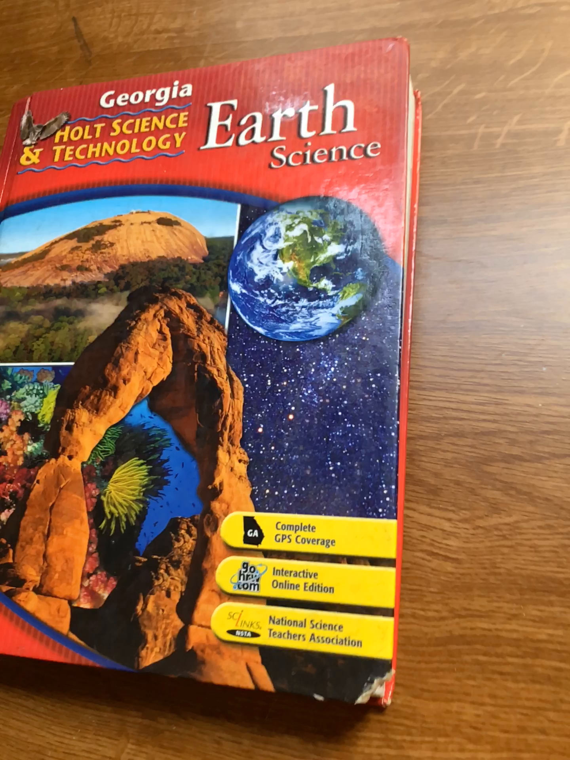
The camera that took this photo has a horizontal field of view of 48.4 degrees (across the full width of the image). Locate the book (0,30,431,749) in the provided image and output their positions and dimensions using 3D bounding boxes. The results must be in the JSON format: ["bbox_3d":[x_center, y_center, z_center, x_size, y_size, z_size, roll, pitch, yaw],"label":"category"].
[{"bbox_3d":[-0.050,-0.012,0.277,0.214,0.050,0.266,0,72,16],"label":"book"}]
